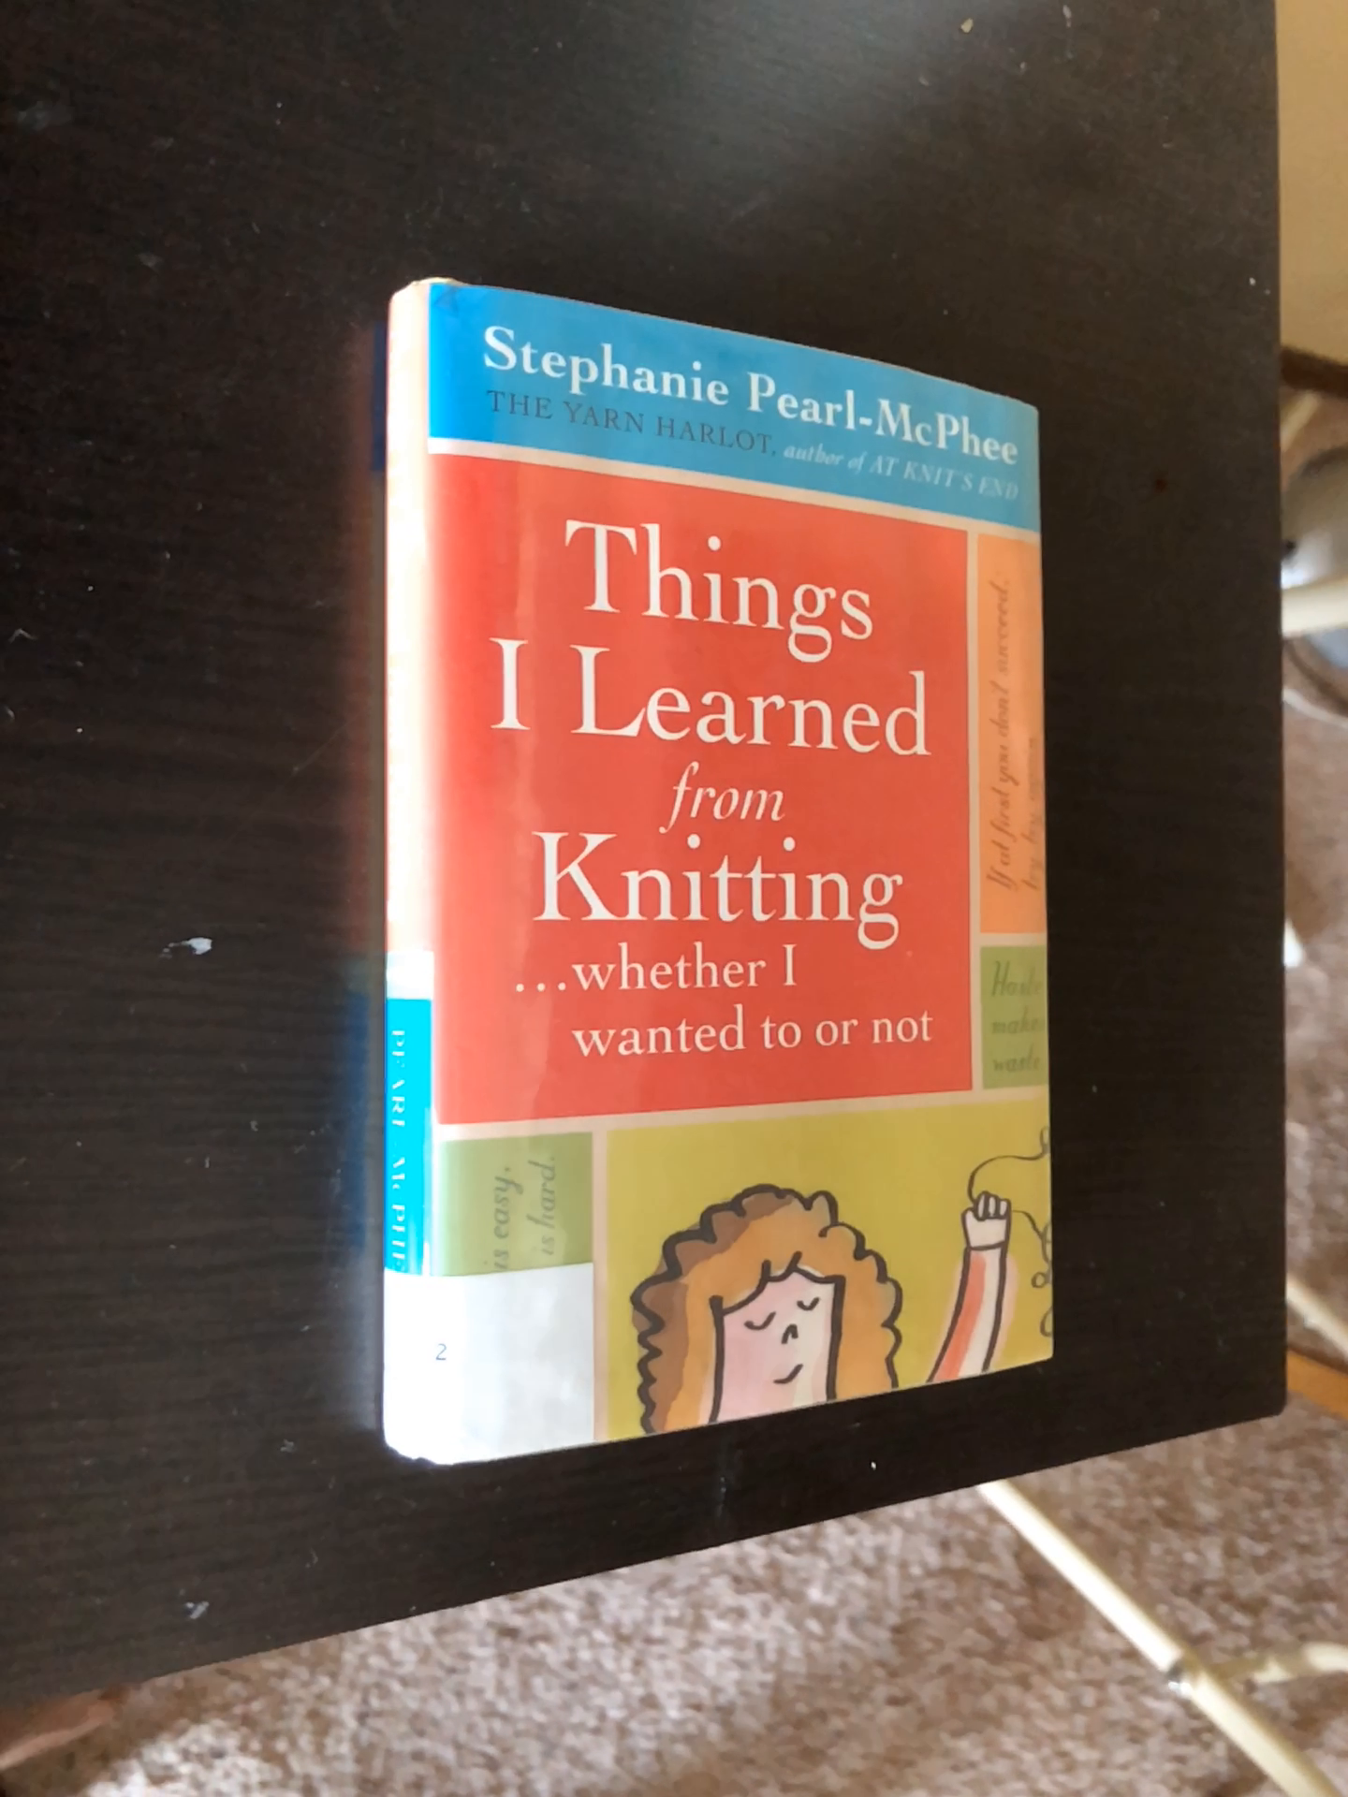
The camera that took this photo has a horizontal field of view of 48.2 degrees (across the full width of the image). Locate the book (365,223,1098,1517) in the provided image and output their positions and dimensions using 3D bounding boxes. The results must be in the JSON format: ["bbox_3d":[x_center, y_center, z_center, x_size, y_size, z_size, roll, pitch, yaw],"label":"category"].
[{"bbox_3d":[0.013,-0.004,0.234,0.118,0.023,0.166,0,88,-31],"label":"book"}]
